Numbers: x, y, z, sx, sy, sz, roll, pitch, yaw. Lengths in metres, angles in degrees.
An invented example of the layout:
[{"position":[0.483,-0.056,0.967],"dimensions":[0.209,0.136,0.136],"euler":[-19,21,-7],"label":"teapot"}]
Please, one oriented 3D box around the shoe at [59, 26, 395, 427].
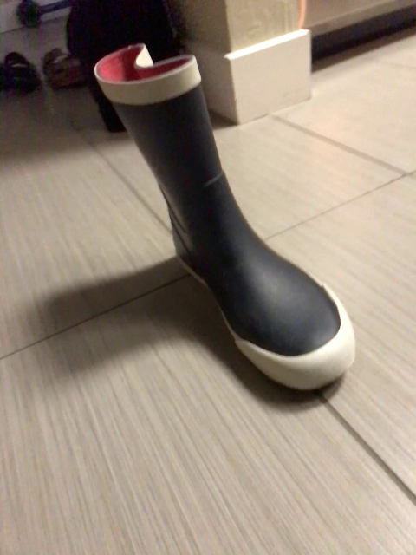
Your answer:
[{"position":[0.004,-0.064,0.374],"dimensions":[0.102,0.217,0.280],"euler":[-29,40,-15],"label":"shoe"}]
